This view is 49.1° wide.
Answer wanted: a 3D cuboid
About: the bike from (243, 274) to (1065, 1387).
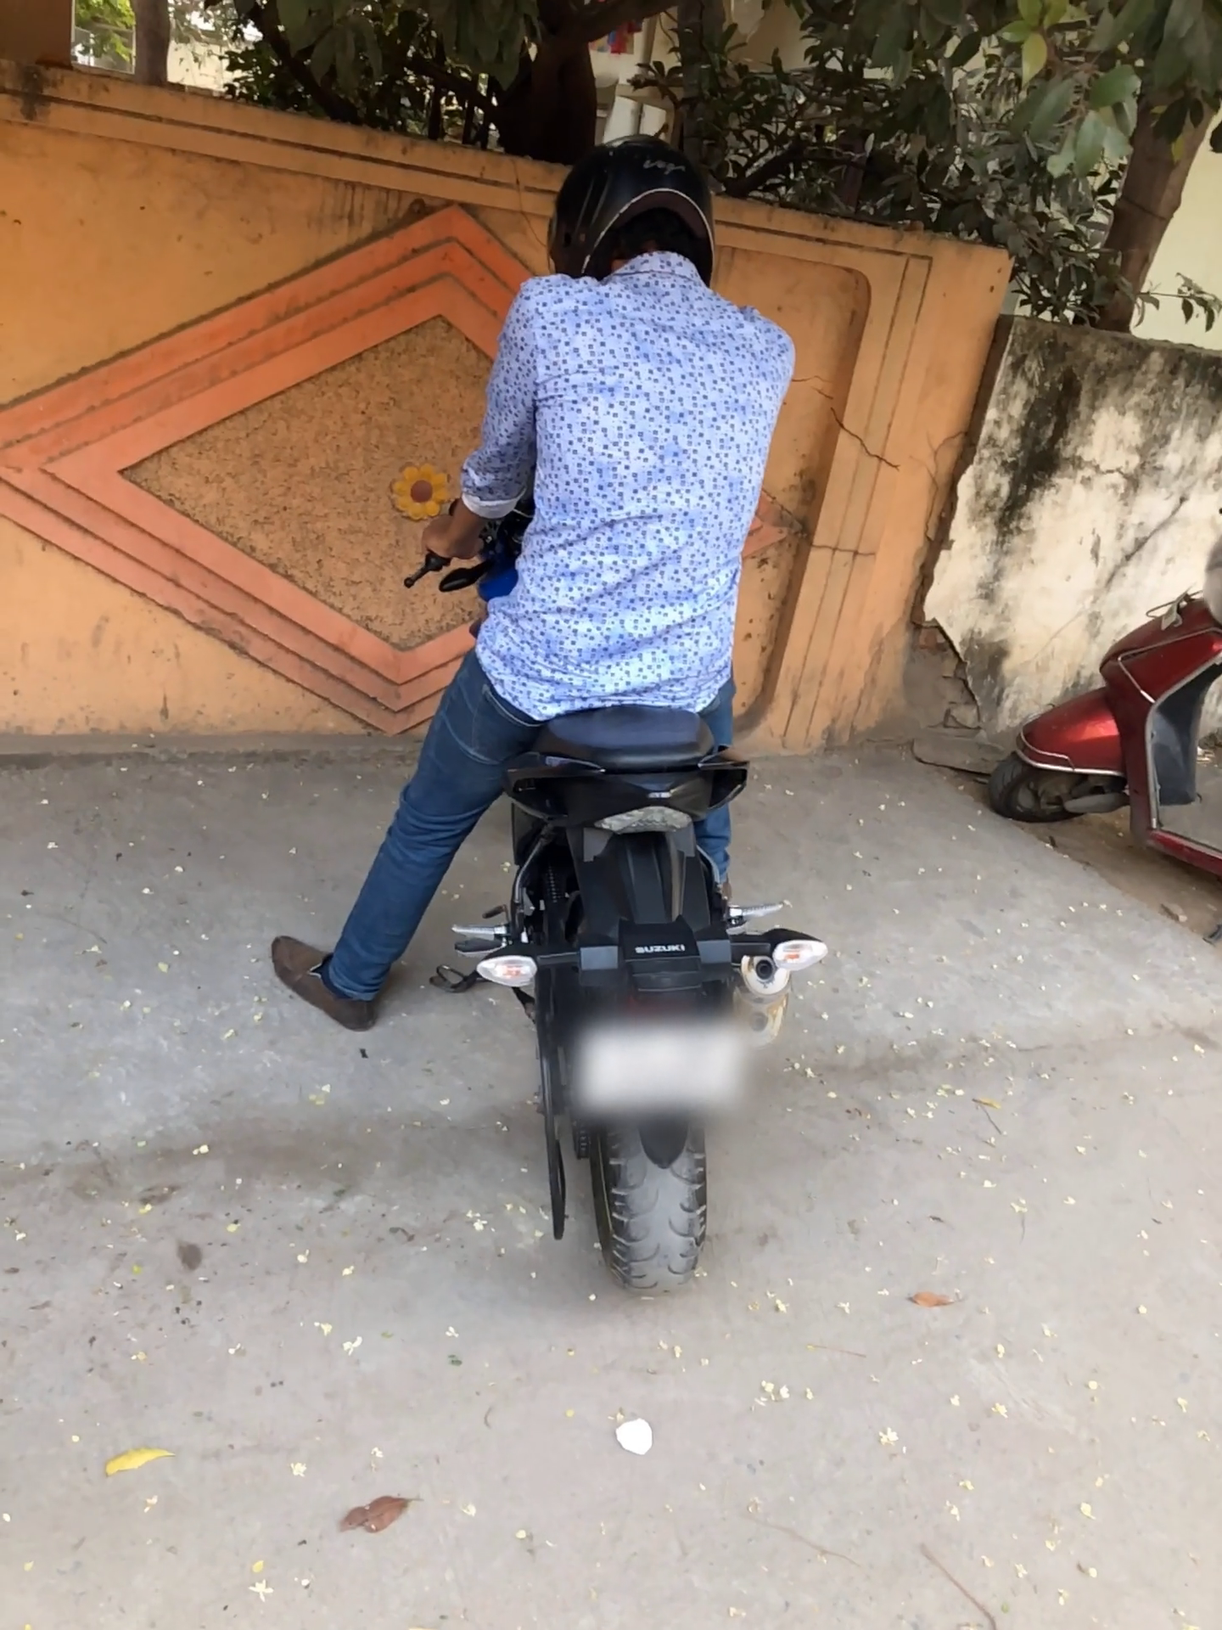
[{"bbox_3d":[-0.222,-0.174,2.441,0.793,1.188,1.898,4,26,-16],"label":"bike"}]
